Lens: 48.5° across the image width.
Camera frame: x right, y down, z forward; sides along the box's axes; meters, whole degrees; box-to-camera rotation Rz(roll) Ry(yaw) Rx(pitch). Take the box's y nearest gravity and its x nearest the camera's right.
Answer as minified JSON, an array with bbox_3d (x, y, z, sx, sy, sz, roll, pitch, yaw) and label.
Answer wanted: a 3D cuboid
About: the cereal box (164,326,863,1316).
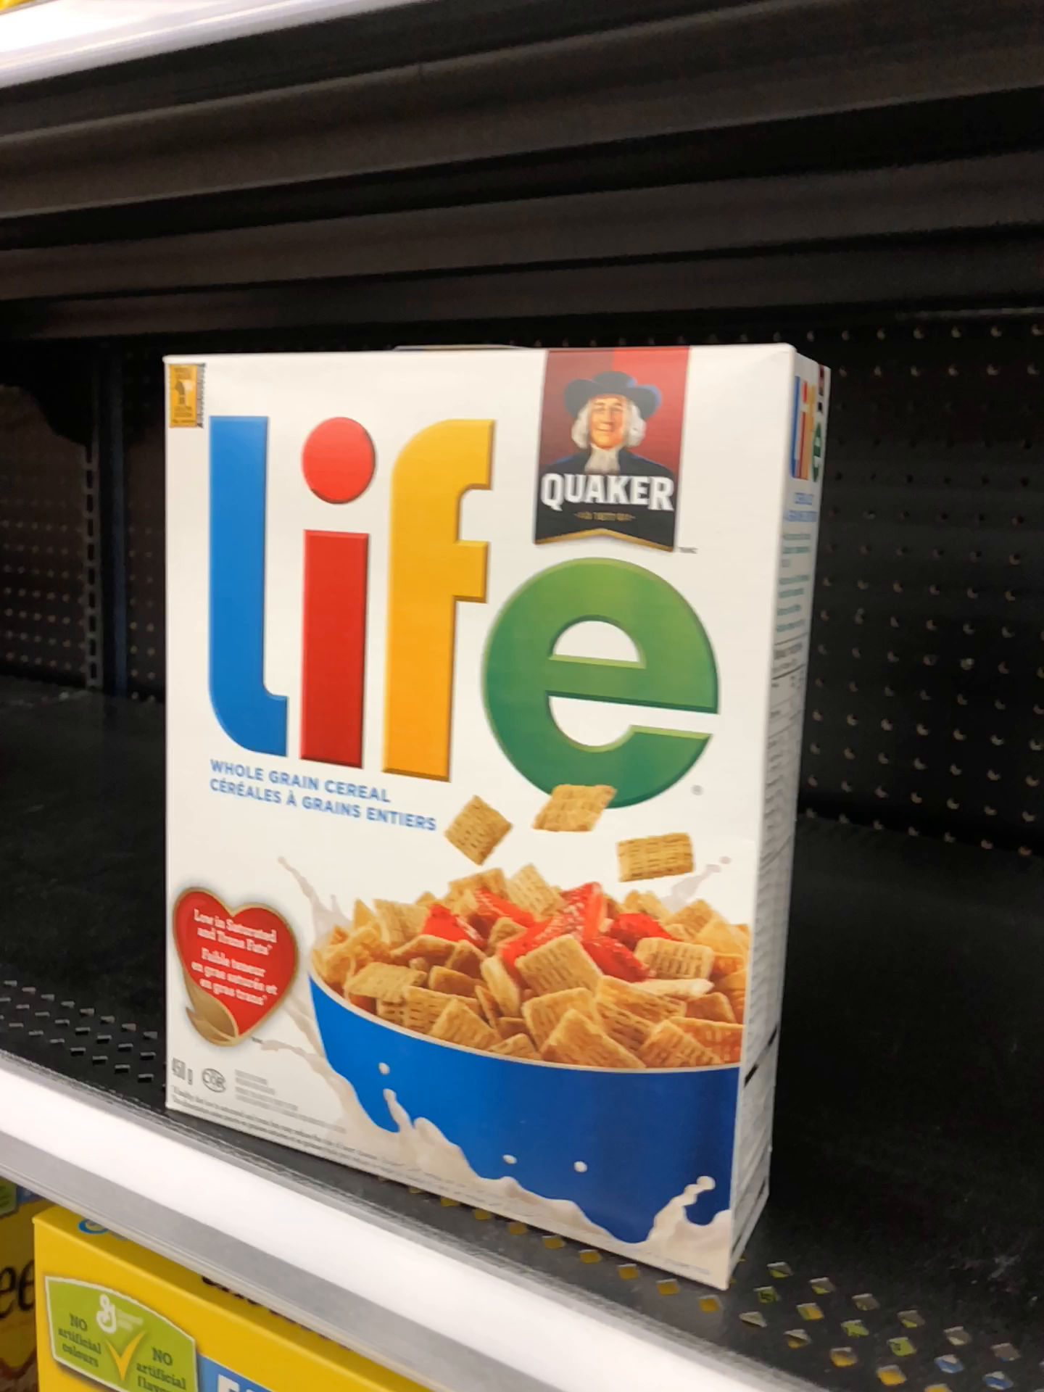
[{"bbox_3d":[-0.012,0.025,0.362,0.200,0.259,0.060,6,10,24],"label":"cereal box"}]
